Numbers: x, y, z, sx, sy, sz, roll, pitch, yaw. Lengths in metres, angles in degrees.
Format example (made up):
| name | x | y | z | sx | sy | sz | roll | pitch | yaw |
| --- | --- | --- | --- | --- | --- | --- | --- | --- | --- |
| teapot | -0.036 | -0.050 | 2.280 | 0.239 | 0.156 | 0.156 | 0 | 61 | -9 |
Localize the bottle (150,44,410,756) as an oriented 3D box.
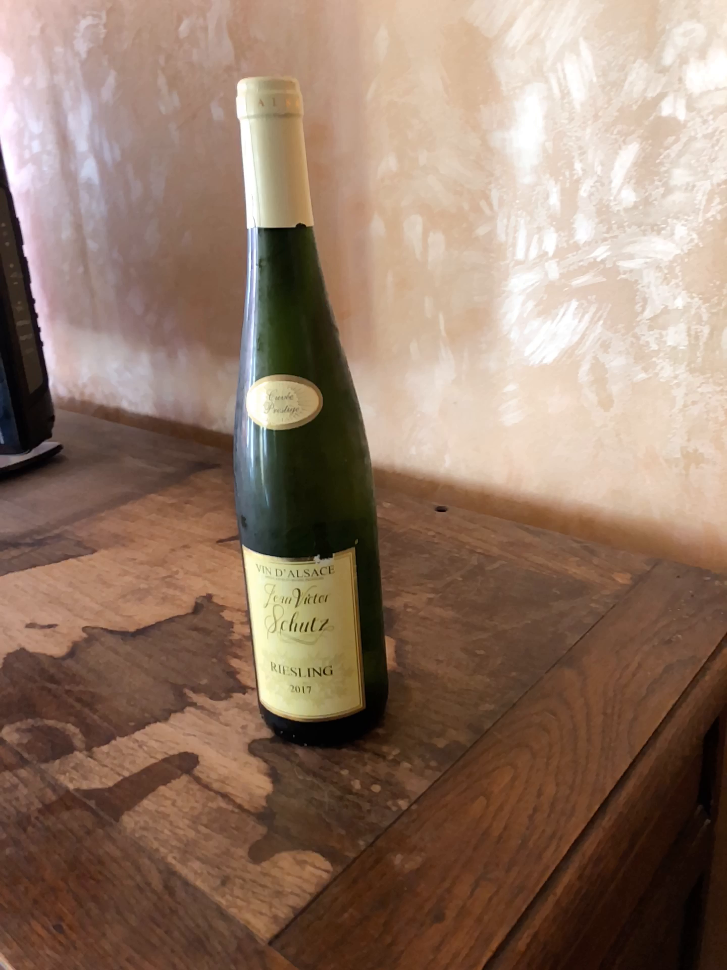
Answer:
| name | x | y | z | sx | sy | sz | roll | pitch | yaw |
| --- | --- | --- | --- | --- | --- | --- | --- | --- | --- |
| bottle | -0.027 | -0.028 | 0.392 | 0.080 | 0.318 | 0.080 | -2 | 21 | 1 |
